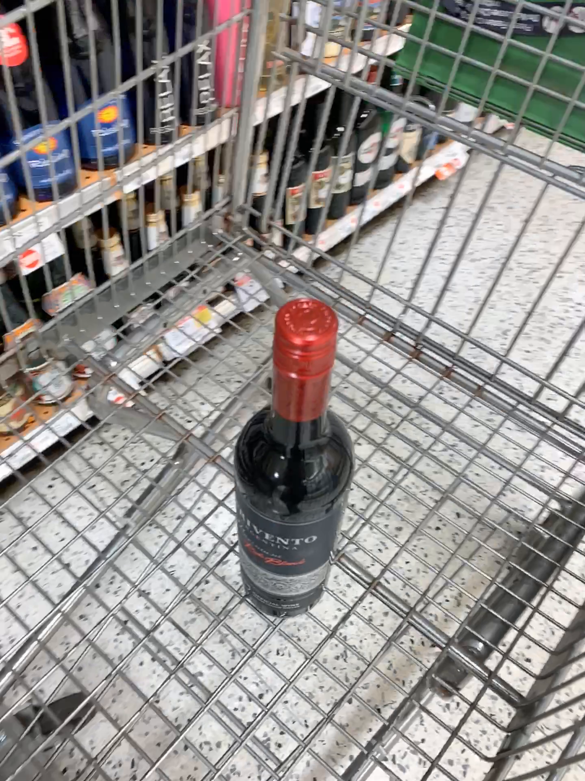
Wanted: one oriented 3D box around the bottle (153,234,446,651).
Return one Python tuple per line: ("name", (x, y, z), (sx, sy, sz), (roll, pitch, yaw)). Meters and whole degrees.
("bottle", (0.000, 0.070, 0.418), (0.100, 0.337, 0.101), (1, 55, -2))
